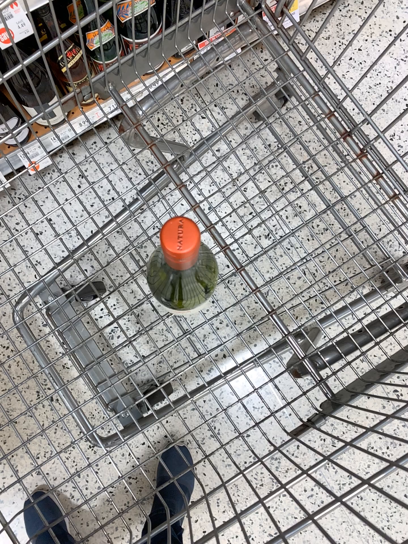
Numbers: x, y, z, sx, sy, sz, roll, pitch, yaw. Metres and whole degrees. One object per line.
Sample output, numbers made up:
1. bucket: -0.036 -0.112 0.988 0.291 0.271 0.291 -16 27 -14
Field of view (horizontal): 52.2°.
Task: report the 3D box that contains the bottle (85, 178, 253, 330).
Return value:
1. bottle: -0.022 0.007 0.400 0.090 0.300 0.080 9 83 0
